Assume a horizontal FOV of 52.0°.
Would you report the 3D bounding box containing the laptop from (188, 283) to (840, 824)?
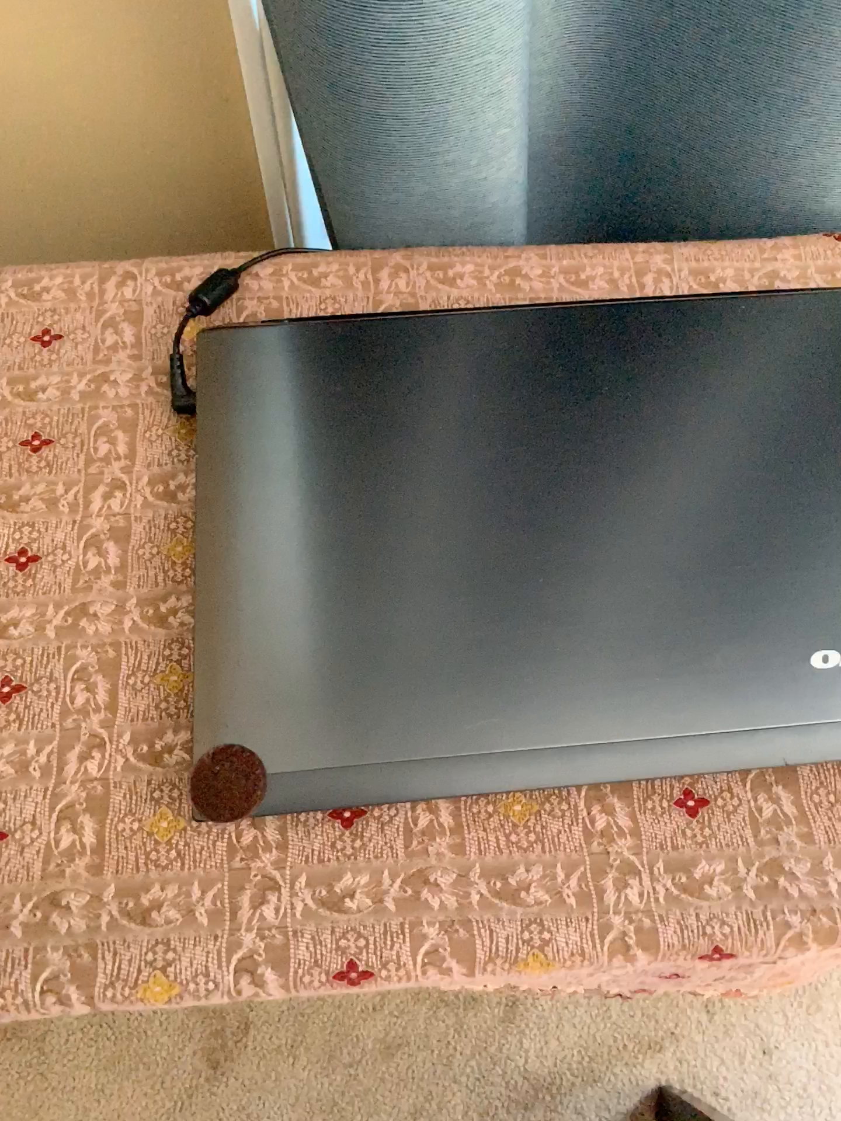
[{"bbox_3d":[0.080,-0.017,0.384,0.356,0.011,0.223,-5,68,-2],"label":"laptop"}]
